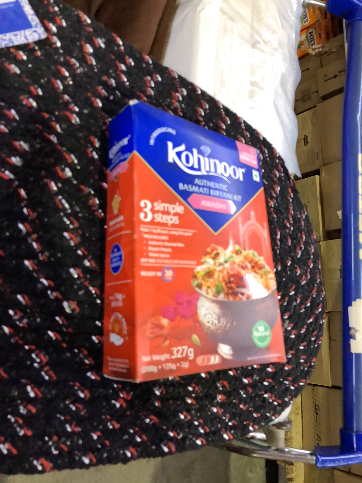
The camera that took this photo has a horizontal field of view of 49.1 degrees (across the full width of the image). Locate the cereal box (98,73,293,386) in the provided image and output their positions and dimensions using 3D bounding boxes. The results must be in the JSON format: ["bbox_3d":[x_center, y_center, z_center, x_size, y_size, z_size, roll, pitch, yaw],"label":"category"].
[{"bbox_3d":[0.015,-0.004,0.283,0.141,0.040,0.180,6,78,-39],"label":"cereal box"}]
